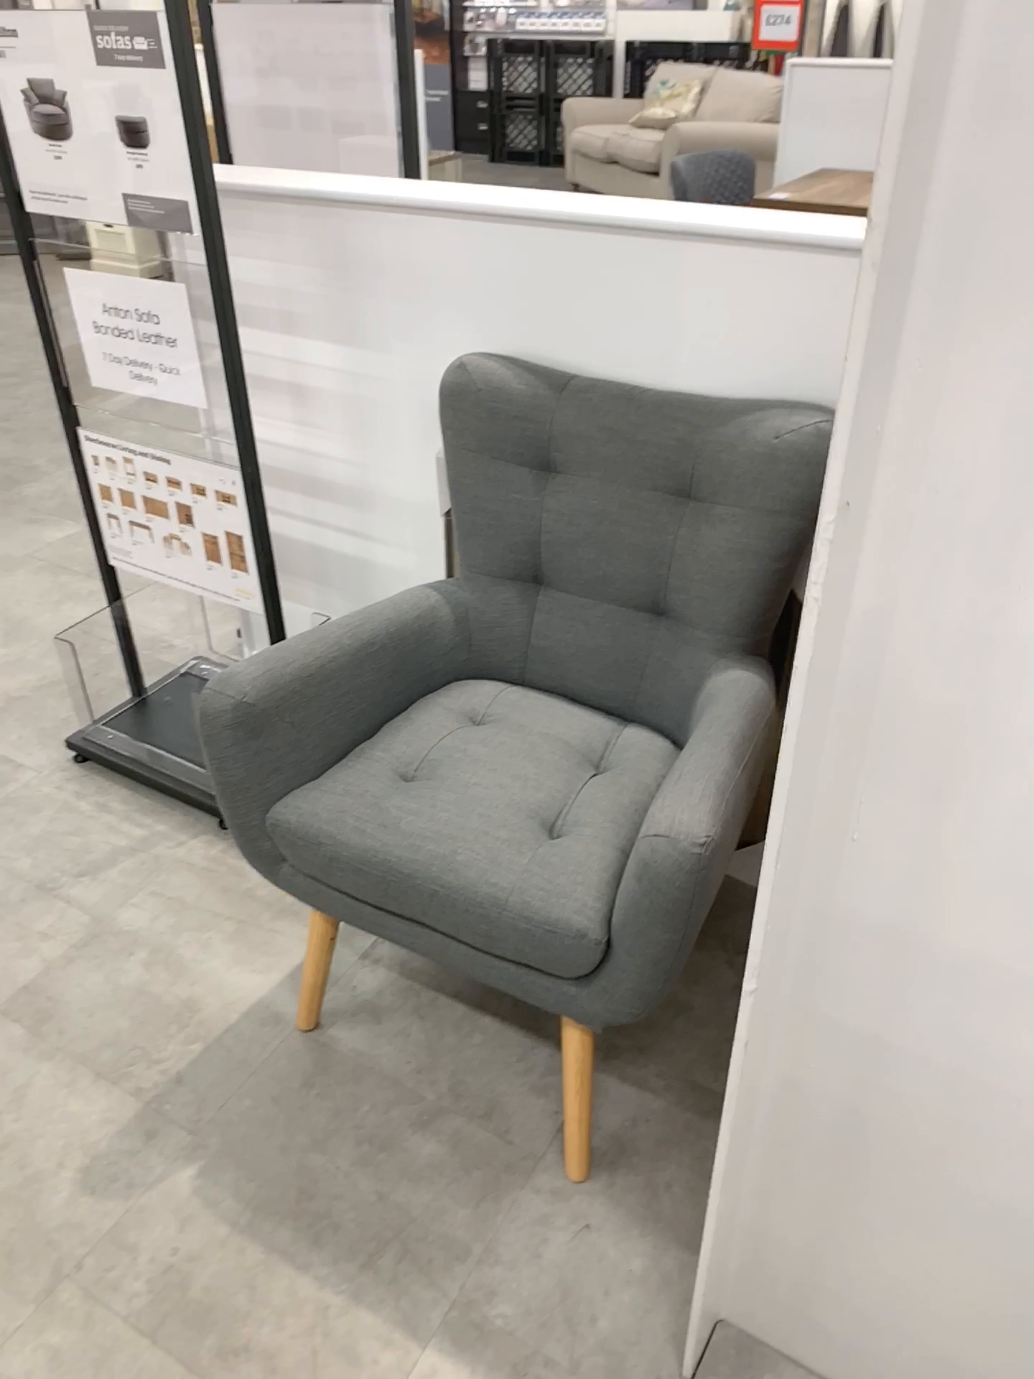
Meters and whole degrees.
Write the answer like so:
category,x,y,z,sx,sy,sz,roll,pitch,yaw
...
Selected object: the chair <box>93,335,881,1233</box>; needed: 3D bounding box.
category,x,y,z,sx,sy,sz,roll,pitch,yaw
chair,-0.014,0.081,1.427,0.710,0.878,0.542,17,37,26
